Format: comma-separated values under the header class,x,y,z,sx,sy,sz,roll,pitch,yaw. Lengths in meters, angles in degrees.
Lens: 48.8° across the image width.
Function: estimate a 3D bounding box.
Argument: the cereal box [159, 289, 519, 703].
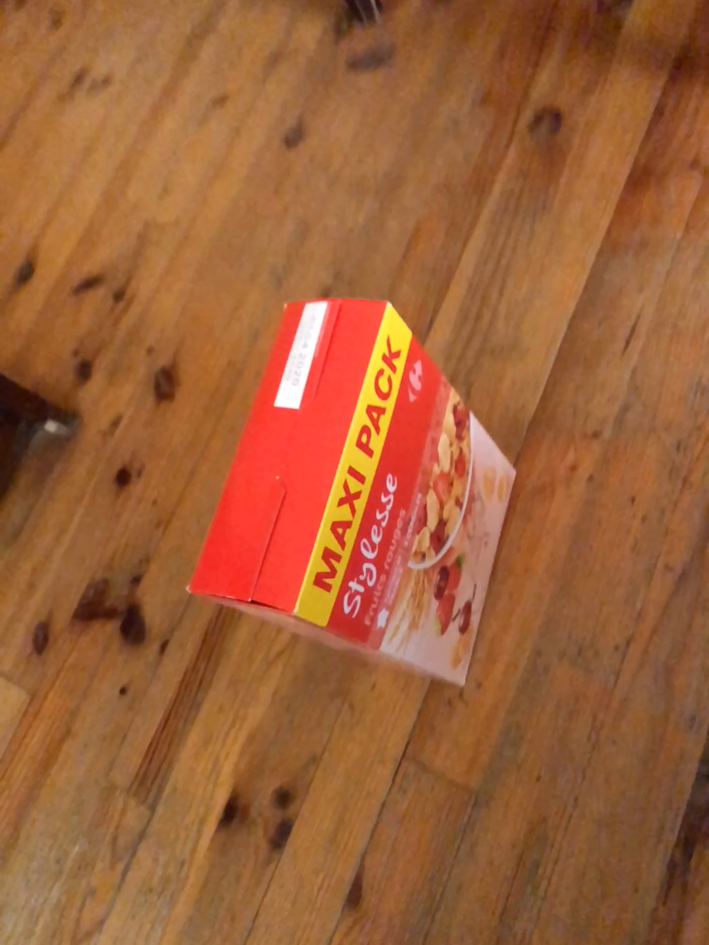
class,x,y,z,sx,sy,sz,roll,pitch,yaw
cereal box,0.017,0.036,0.577,0.090,0.289,0.211,7,72,30
